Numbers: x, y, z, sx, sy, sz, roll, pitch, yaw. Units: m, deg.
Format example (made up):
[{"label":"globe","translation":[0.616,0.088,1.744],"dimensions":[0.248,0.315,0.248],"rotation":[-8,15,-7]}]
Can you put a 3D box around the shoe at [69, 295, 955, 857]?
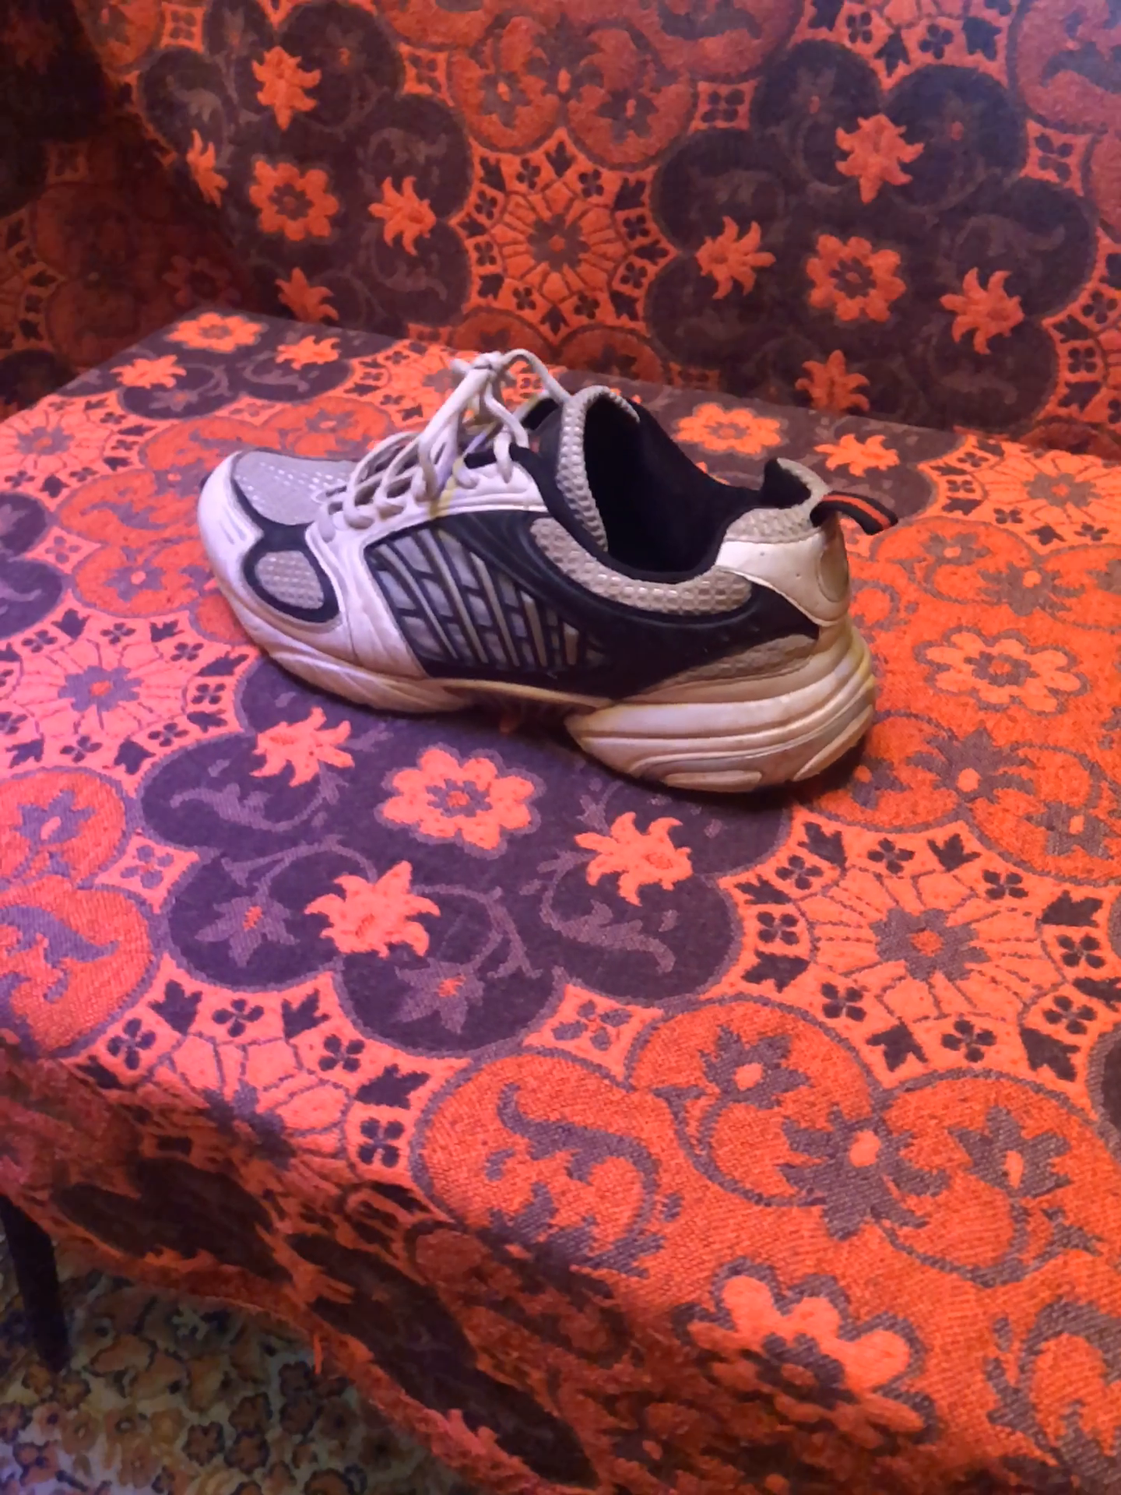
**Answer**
[{"label":"shoe","translation":[-0.021,-0.080,0.485],"dimensions":[0.300,0.109,0.120],"rotation":[17,43,20]}]
